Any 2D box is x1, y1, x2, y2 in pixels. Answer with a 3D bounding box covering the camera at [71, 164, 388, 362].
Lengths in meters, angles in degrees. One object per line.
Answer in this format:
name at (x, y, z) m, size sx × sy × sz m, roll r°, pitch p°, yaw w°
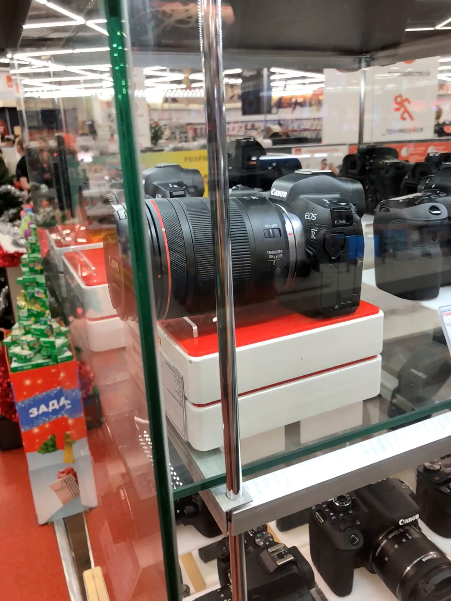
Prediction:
camera at (-0.004, -0.044, 0.367) m, size 0.180 × 0.093 × 0.145 m, roll -10°, pitch 20°, yaw -23°
